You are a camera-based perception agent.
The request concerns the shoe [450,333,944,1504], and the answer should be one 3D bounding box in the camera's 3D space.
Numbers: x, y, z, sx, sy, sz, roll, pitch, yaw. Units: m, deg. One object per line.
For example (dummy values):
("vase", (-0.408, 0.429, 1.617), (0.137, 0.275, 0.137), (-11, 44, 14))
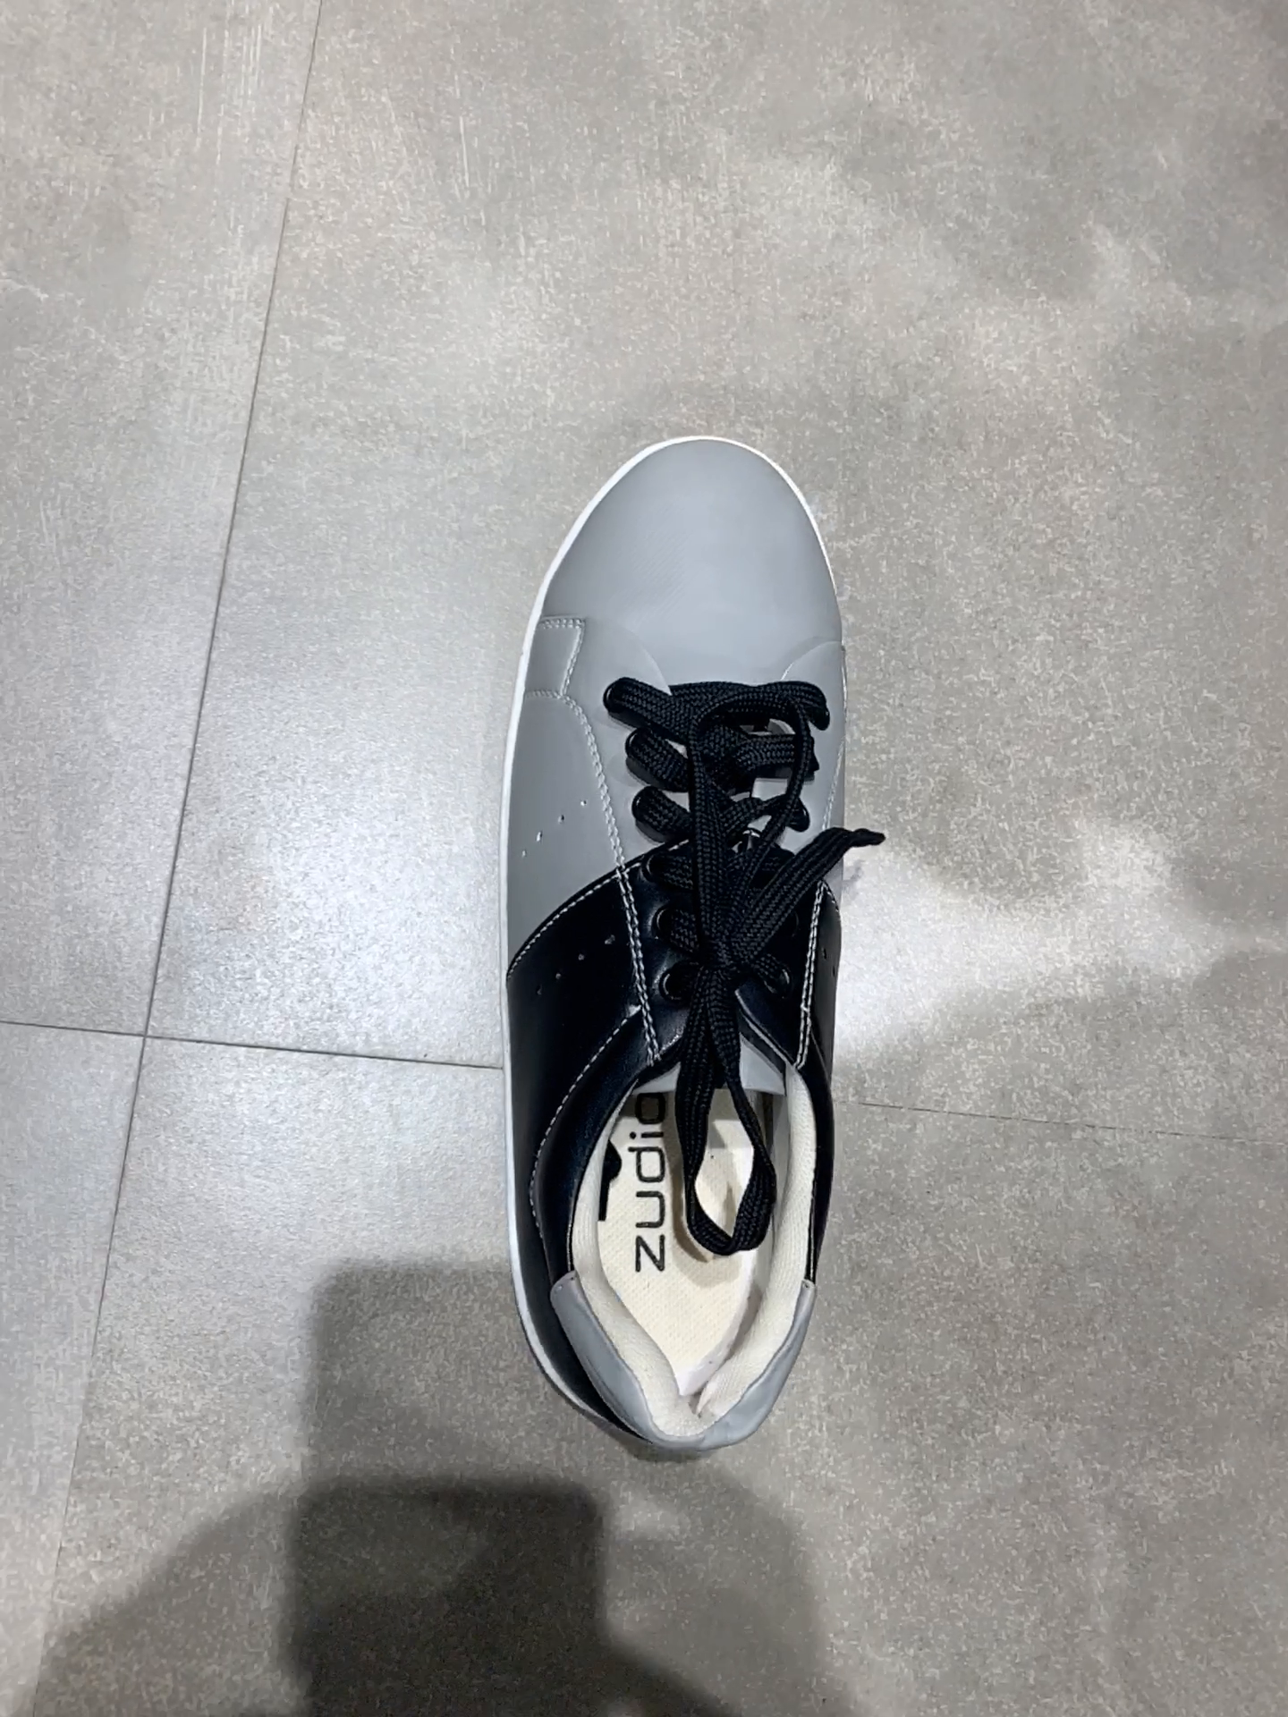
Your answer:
("shoe", (0.009, 0.013, 0.344), (0.101, 0.093, 0.263), (4, 77, -8))
